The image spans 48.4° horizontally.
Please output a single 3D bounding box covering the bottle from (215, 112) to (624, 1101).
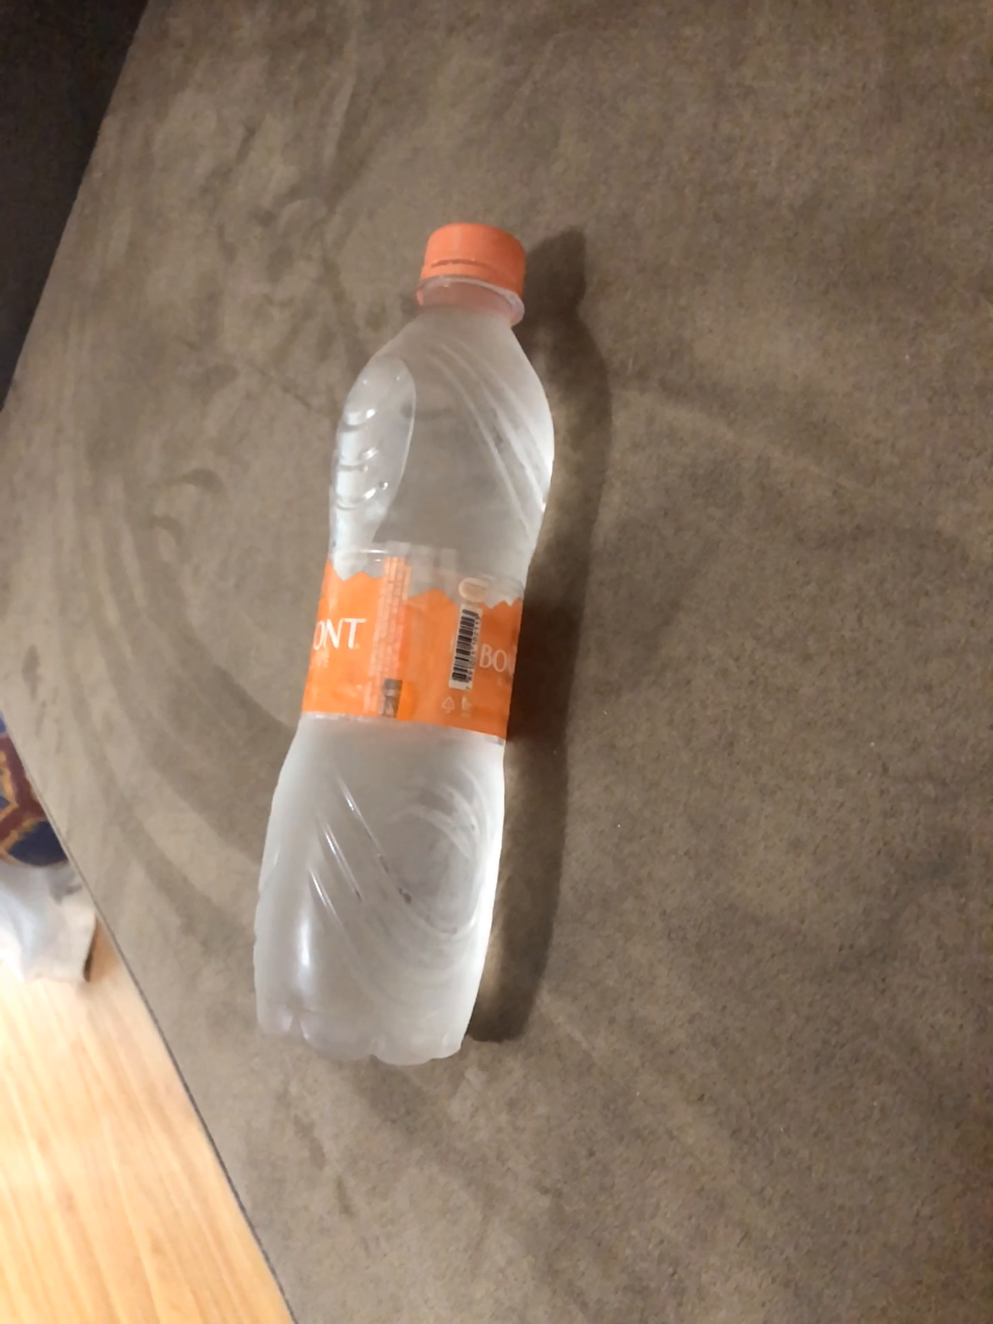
[{"bbox_3d":[-0.020,-0.015,0.305,0.070,0.050,0.240,-1,79,47],"label":"bottle"}]
